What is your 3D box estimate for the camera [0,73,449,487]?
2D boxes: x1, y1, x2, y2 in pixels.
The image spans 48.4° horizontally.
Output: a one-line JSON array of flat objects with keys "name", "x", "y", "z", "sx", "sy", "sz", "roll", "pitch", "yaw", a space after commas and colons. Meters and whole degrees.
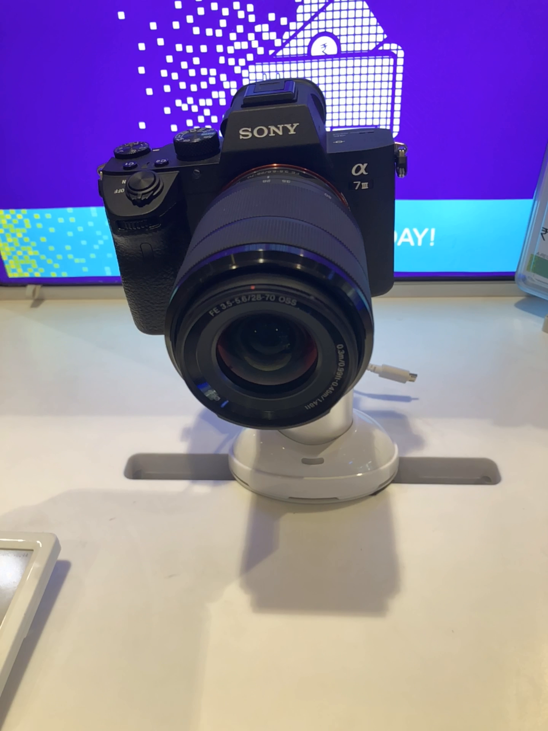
[{"name": "camera", "x": -0.016, "y": -0.042, "z": 0.243, "sx": 0.120, "sy": 0.109, "sz": 0.128, "roll": -4, "pitch": 35, "yaw": -2}]
